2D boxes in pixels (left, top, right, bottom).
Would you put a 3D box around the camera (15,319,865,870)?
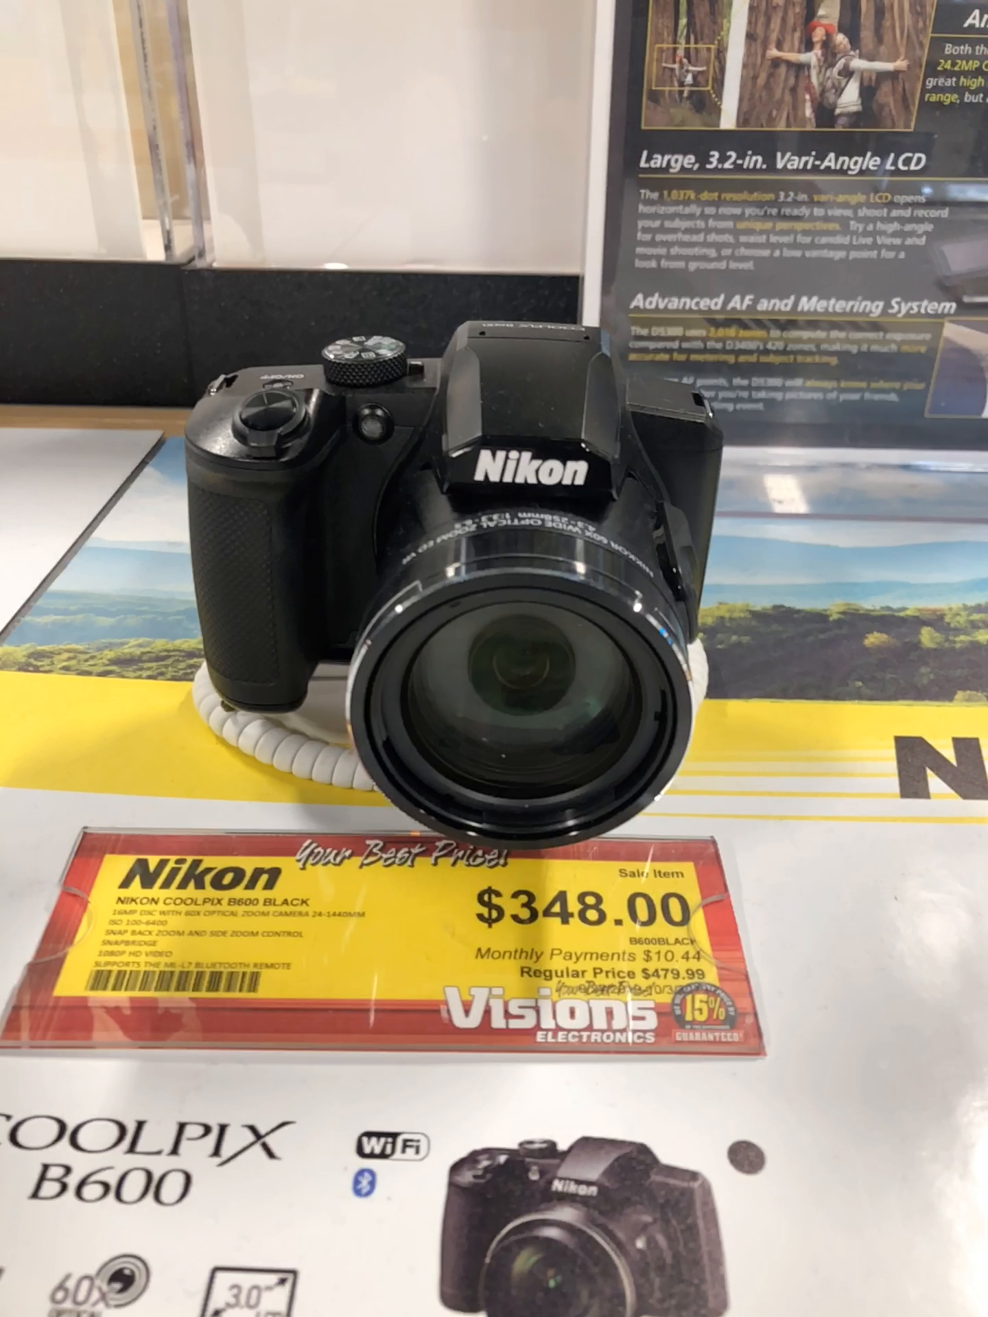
[{"bbox_3d":[-0.007,-0.022,0.232,0.130,0.070,0.111,2,31,2],"label":"camera"}]
